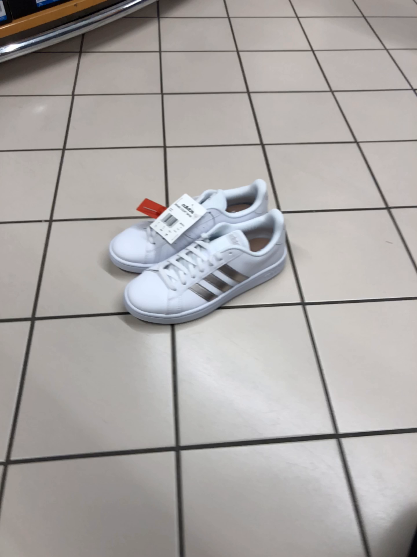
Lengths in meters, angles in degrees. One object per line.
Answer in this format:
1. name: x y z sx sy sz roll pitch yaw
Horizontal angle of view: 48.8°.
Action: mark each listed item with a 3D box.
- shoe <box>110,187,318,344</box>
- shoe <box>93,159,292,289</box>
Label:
1. shoe: 0.011 -0.025 0.682 0.281 0.099 0.100 -23 56 -20
2. shoe: -0.024 -0.090 0.728 0.281 0.099 0.100 -16 54 -15
